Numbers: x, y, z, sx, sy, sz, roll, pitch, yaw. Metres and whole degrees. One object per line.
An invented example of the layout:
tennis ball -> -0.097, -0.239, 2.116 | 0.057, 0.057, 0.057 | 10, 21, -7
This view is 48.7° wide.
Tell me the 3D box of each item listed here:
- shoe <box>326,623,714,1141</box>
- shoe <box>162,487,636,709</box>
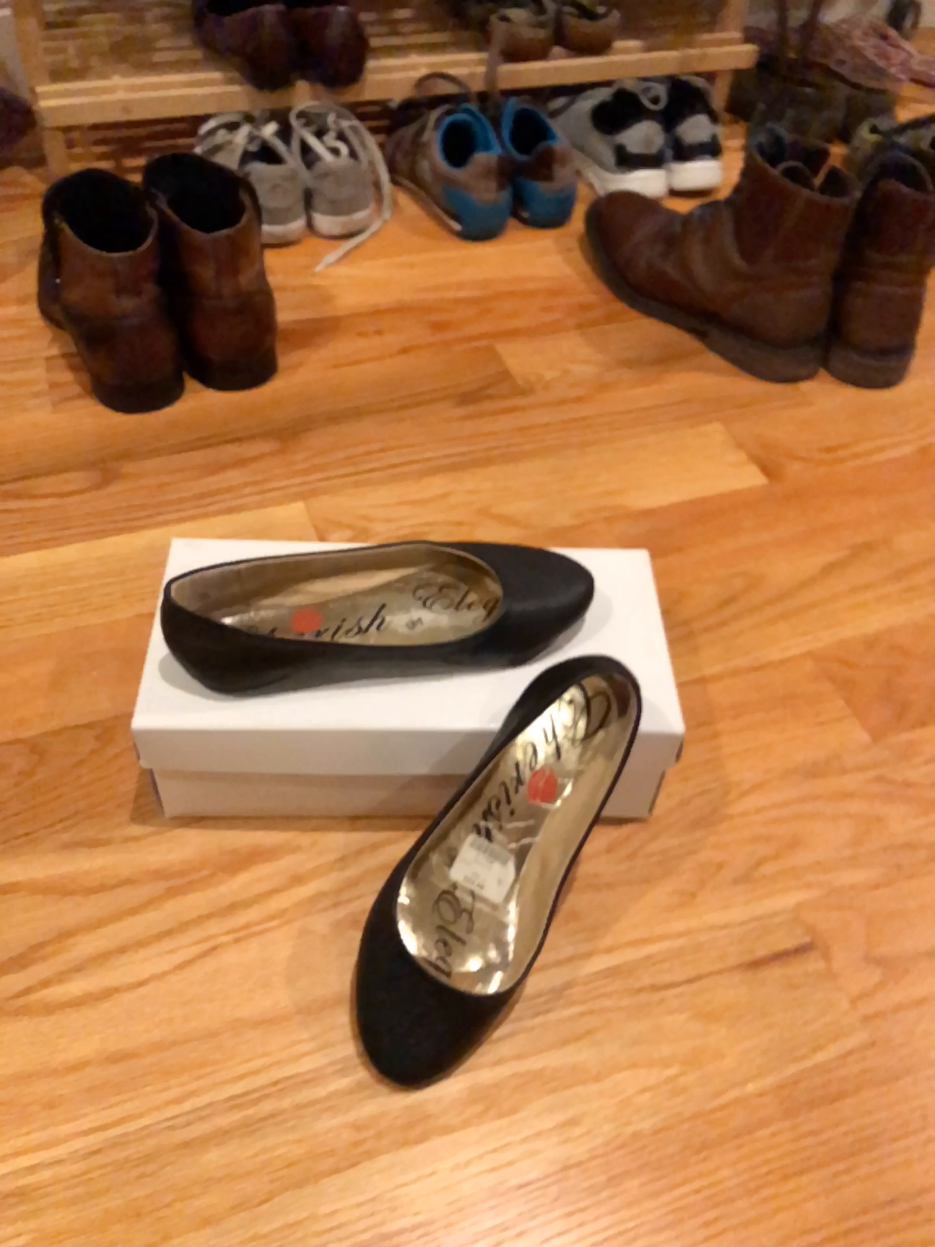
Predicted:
shoe -> 0.026, 0.124, 0.525 | 0.076, 0.060, 0.239 | 30, 88, 2
shoe -> -0.038, -0.016, 0.565 | 0.239, 0.060, 0.076 | -6, 49, -10
